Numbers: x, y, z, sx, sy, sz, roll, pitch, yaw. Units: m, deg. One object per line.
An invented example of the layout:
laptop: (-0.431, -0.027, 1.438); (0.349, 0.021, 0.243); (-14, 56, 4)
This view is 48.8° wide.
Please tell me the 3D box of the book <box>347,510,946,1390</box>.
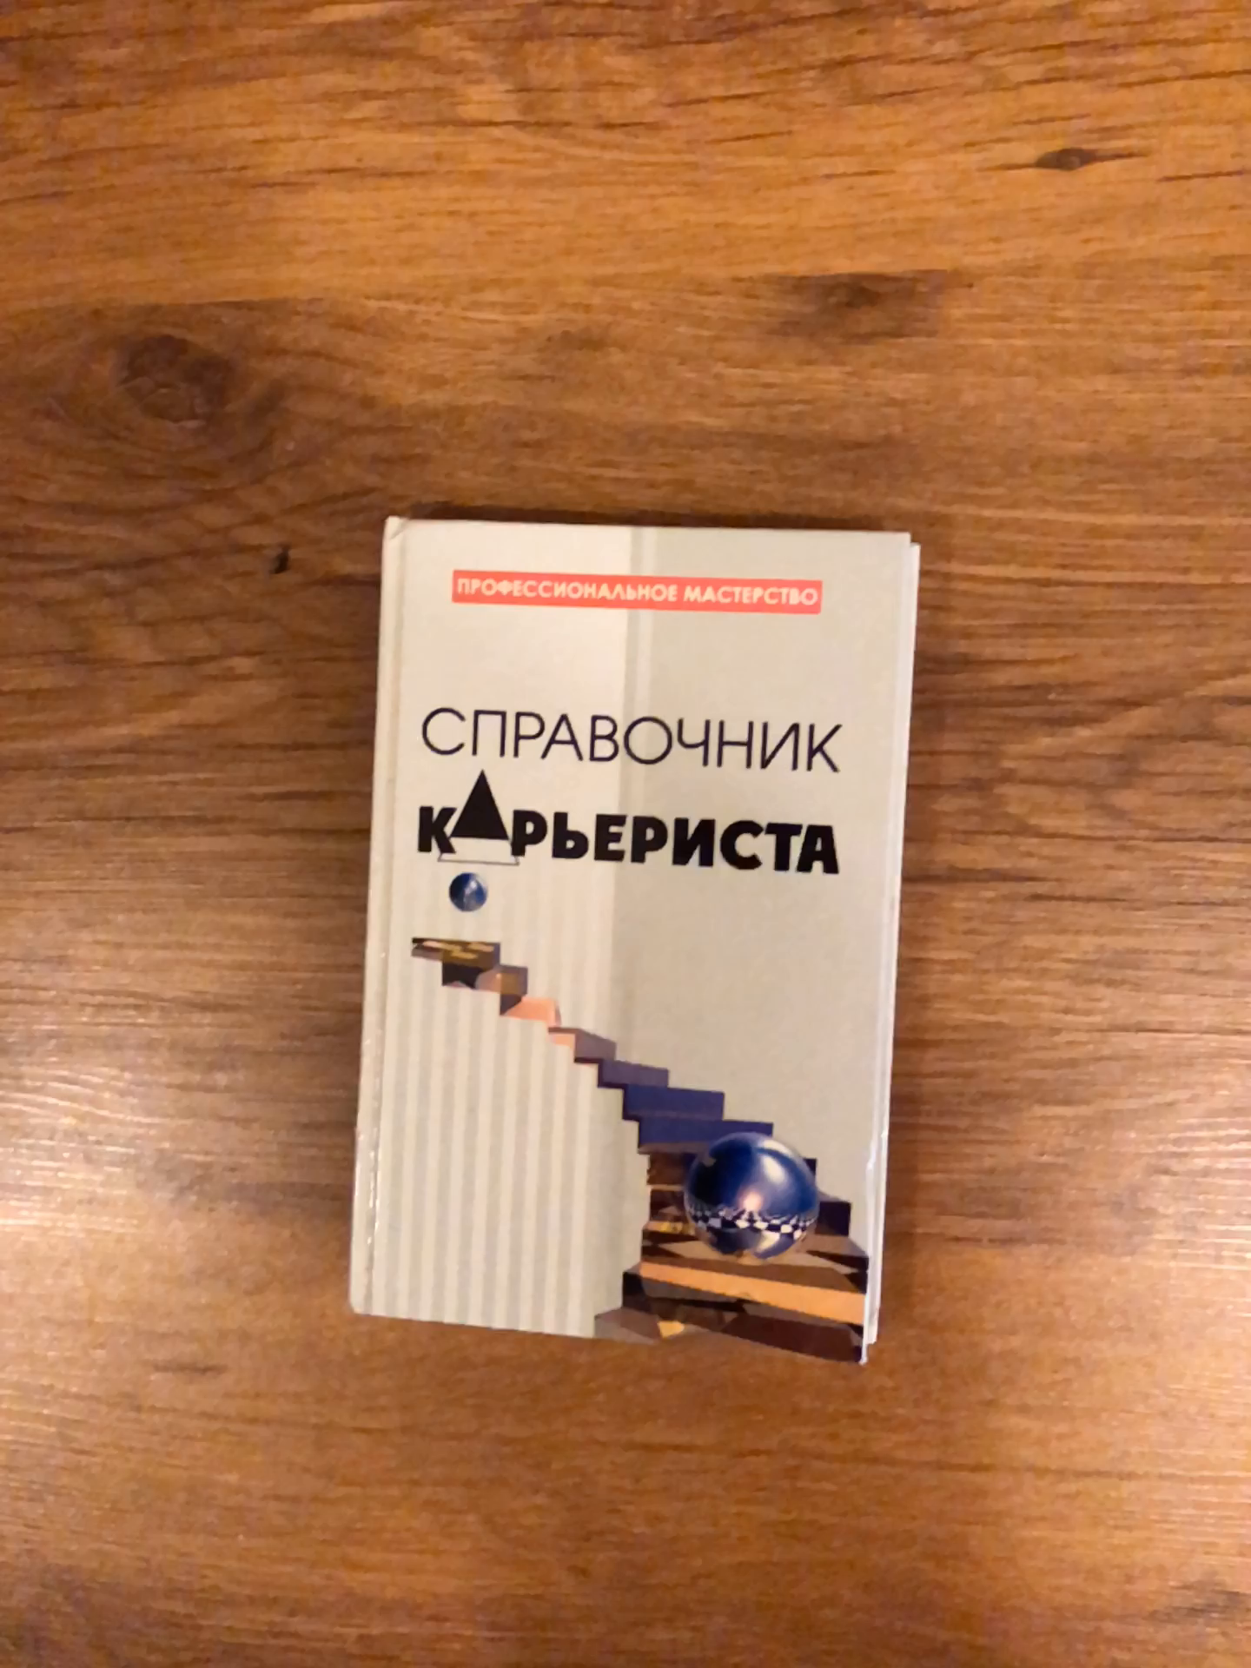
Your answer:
book: (0.004, 0.025, 0.346); (0.136, 0.026, 0.204); (3, 91, 8)
